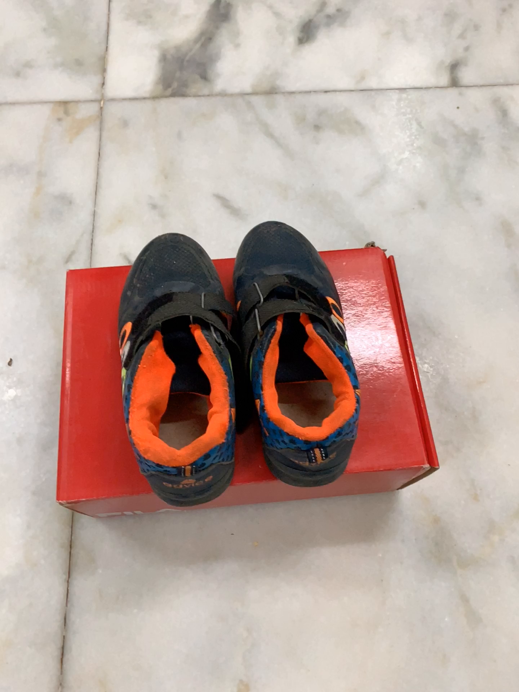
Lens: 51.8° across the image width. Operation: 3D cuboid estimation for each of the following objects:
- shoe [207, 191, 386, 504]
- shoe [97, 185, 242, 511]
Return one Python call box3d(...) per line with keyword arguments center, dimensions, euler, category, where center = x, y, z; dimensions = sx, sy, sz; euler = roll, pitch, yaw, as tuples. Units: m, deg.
box3d(center=(0.017, -0.001, 0.404), dimensions=(0.090, 0.090, 0.211), euler=(-6, 66, -4), category="shoe")
box3d(center=(-0.063, -0.002, 0.378), dimensions=(0.080, 0.080, 0.211), euler=(-6, 66, -4), category="shoe")
